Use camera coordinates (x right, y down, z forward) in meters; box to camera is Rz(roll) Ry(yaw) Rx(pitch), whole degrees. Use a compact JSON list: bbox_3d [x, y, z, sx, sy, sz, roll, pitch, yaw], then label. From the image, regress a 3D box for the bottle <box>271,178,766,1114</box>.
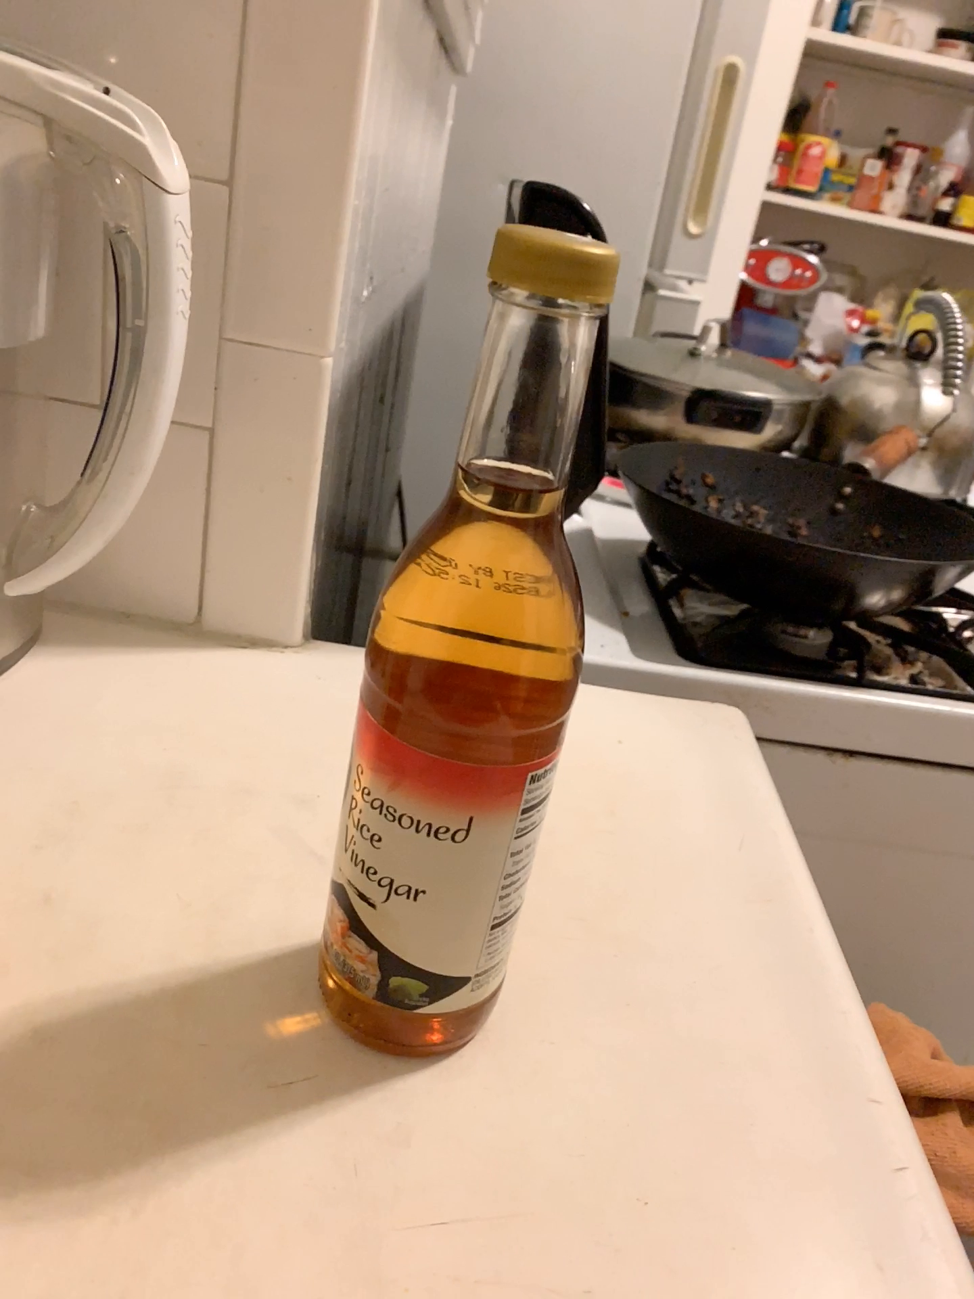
[{"bbox_3d":[0.000,0.006,0.284,0.070,0.239,0.070,10,25,-5],"label":"bottle"}]
